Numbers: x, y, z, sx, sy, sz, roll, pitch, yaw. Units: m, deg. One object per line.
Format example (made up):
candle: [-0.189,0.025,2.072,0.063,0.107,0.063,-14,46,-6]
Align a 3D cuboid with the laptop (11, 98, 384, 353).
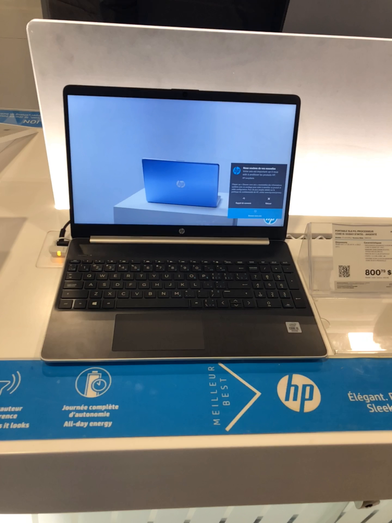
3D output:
laptop: [-0.008,-0.063,0.579,0.336,0.206,0.317,1,37,-4]
